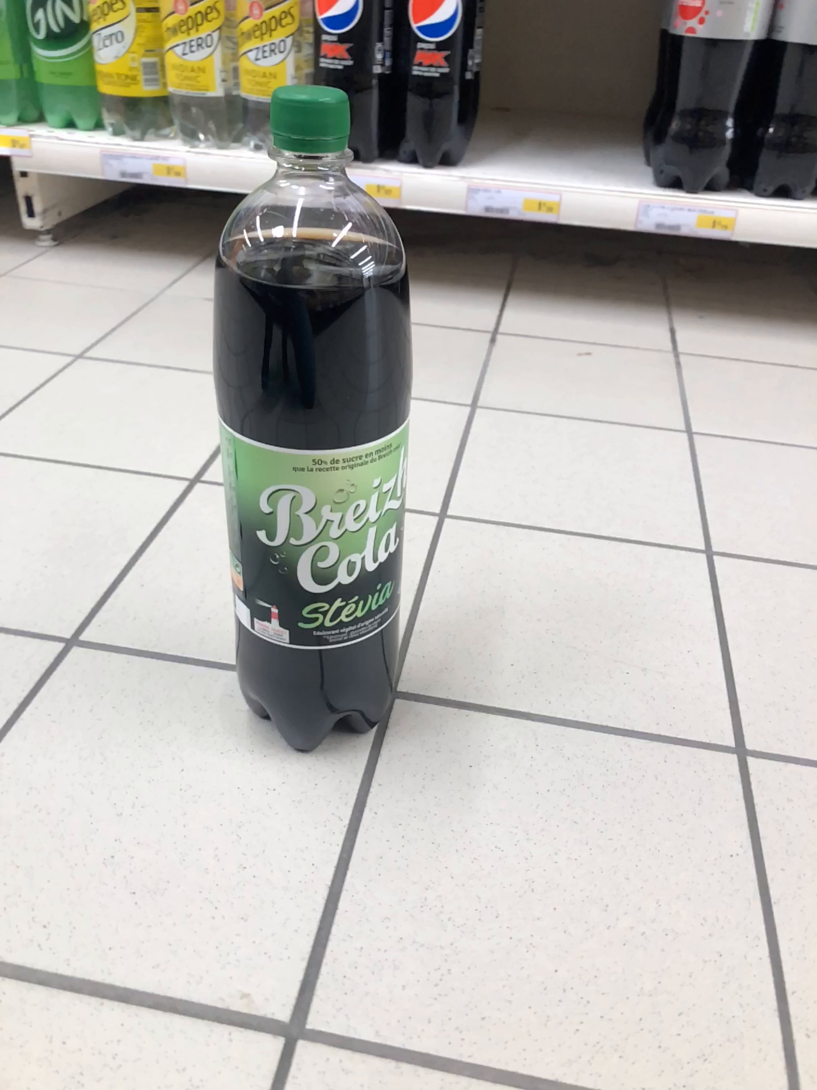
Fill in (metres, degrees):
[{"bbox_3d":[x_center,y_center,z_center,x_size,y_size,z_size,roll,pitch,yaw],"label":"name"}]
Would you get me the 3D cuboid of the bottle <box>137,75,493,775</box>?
[{"bbox_3d":[-0.045,-0.048,0.426,0.100,0.298,0.100,2,33,-2],"label":"bottle"}]
